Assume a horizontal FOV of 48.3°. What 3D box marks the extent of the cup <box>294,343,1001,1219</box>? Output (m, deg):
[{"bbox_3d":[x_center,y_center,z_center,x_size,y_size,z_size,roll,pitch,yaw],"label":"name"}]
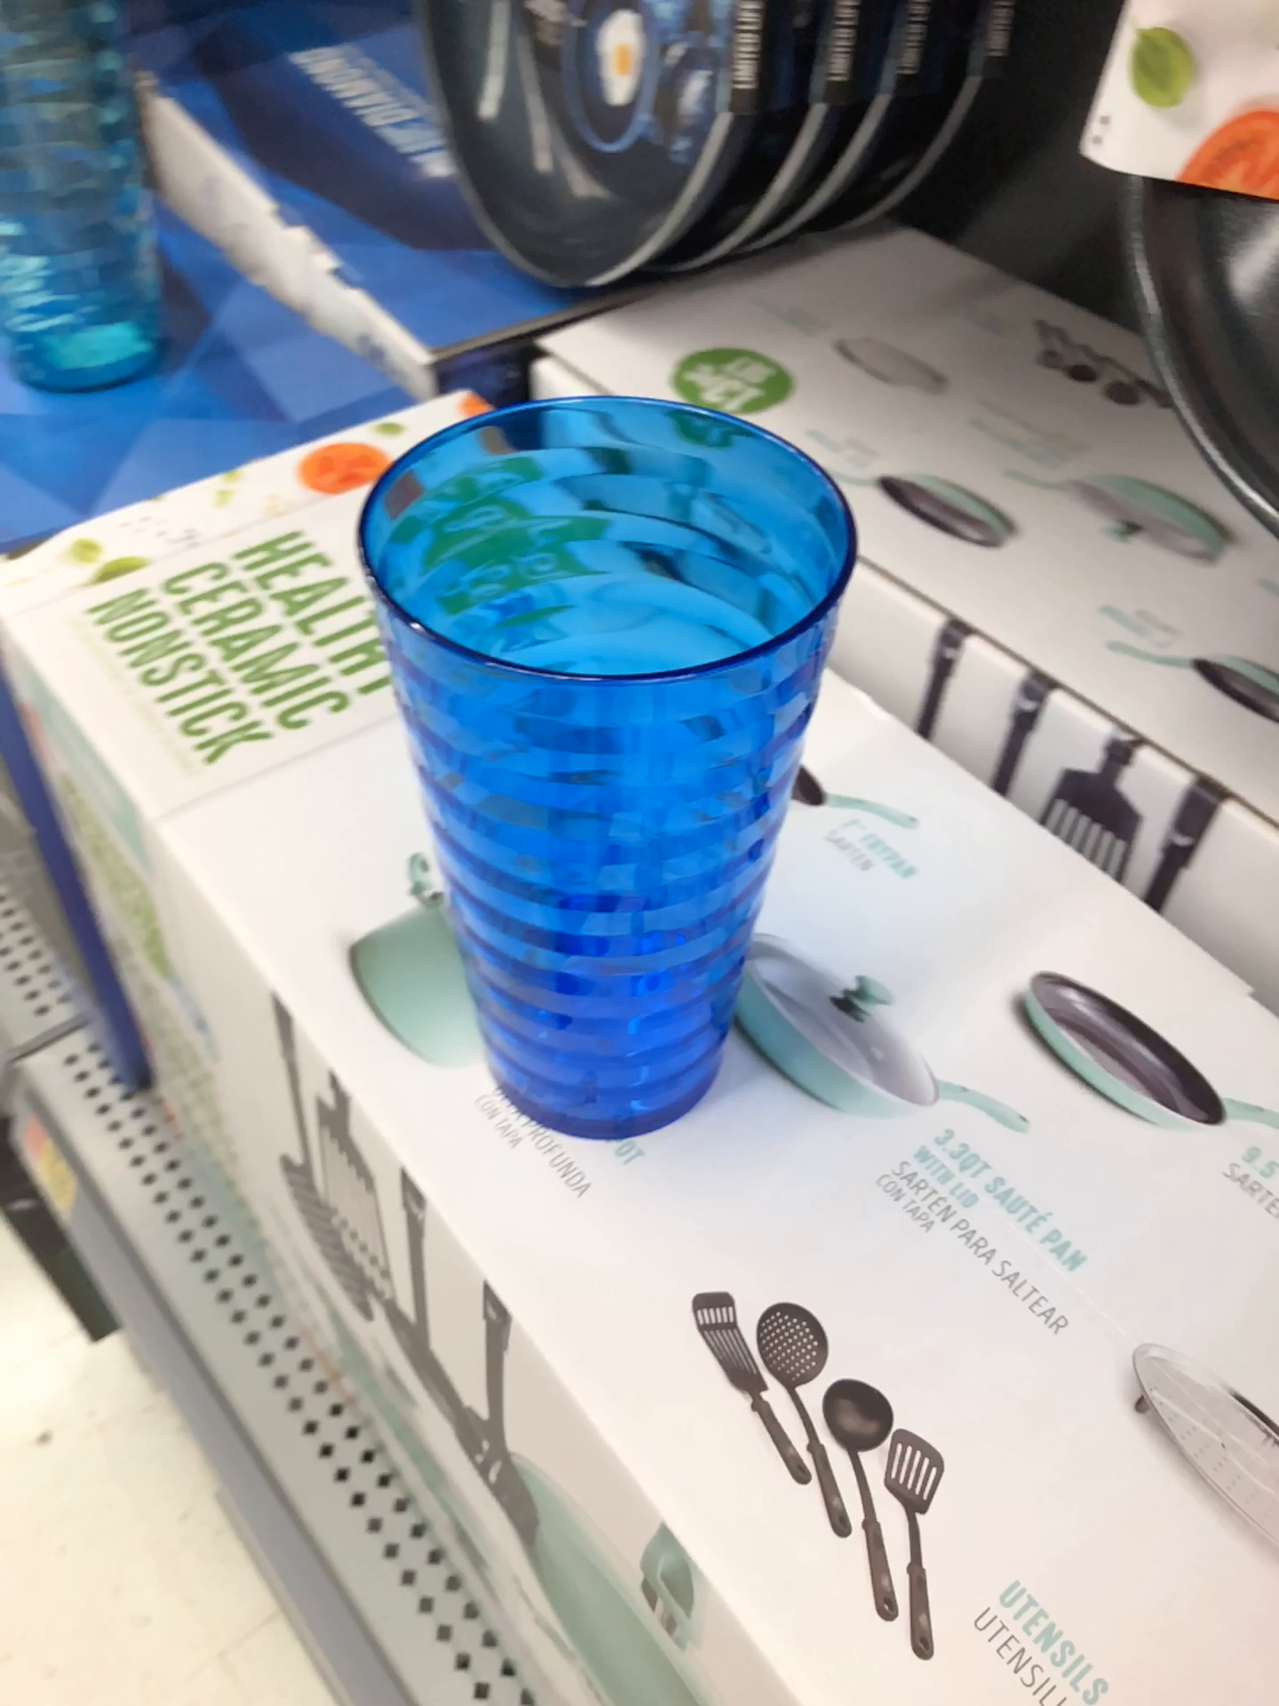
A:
[{"bbox_3d":[-0.002,-0.012,0.291,0.091,0.134,0.088,0,47,0],"label":"cup"}]
